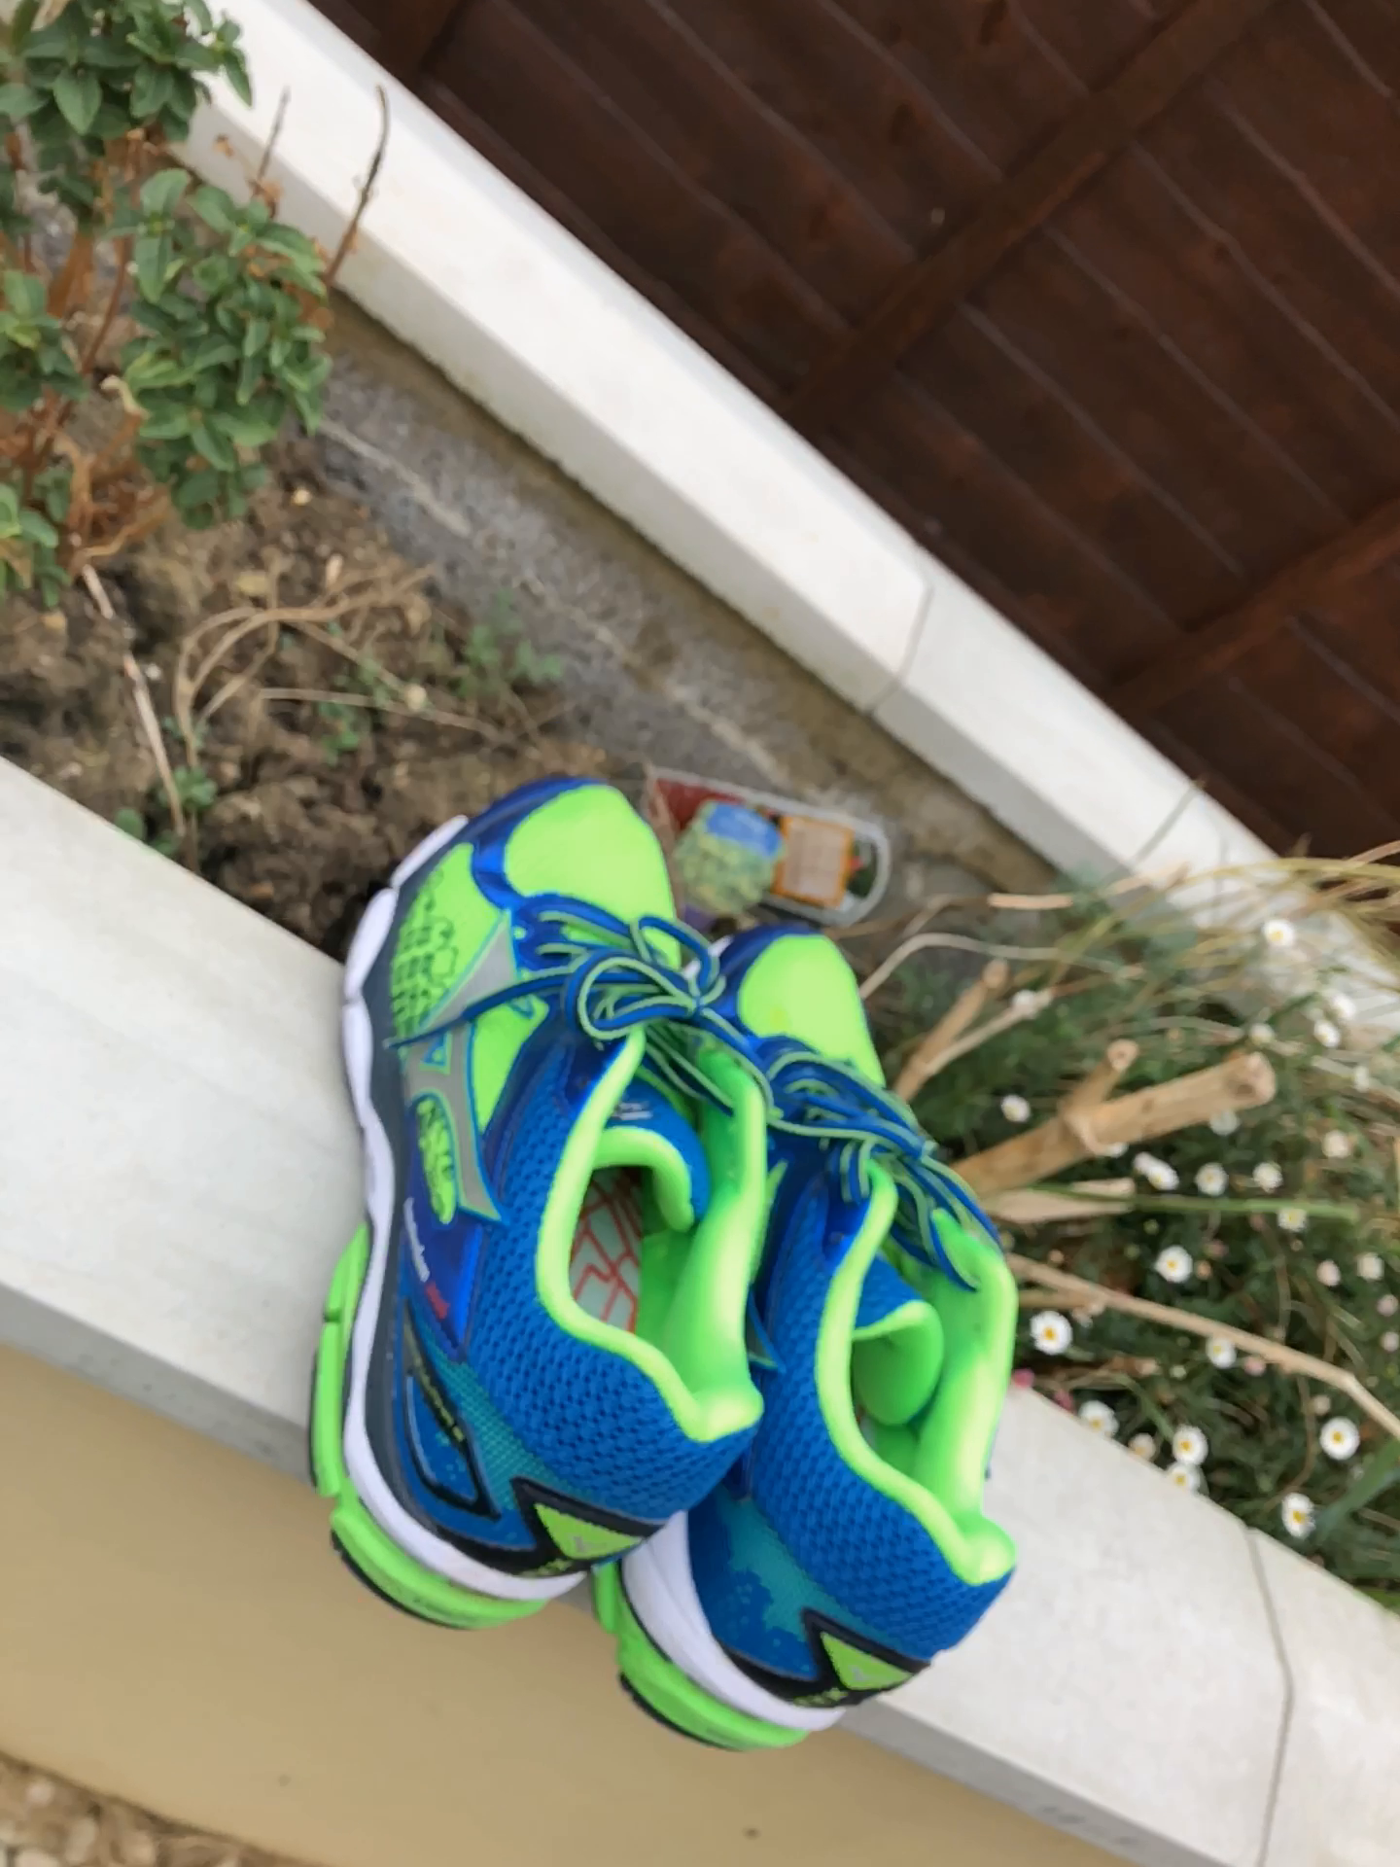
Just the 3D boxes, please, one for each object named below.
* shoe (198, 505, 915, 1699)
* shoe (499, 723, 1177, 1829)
[{"bbox_3d":[-0.028,0.036,0.438,0.110,0.119,0.292,28,45,-28],"label":"shoe"},{"bbox_3d":[0.044,0.088,0.481,0.110,0.119,0.292,34,38,-23],"label":"shoe"}]
